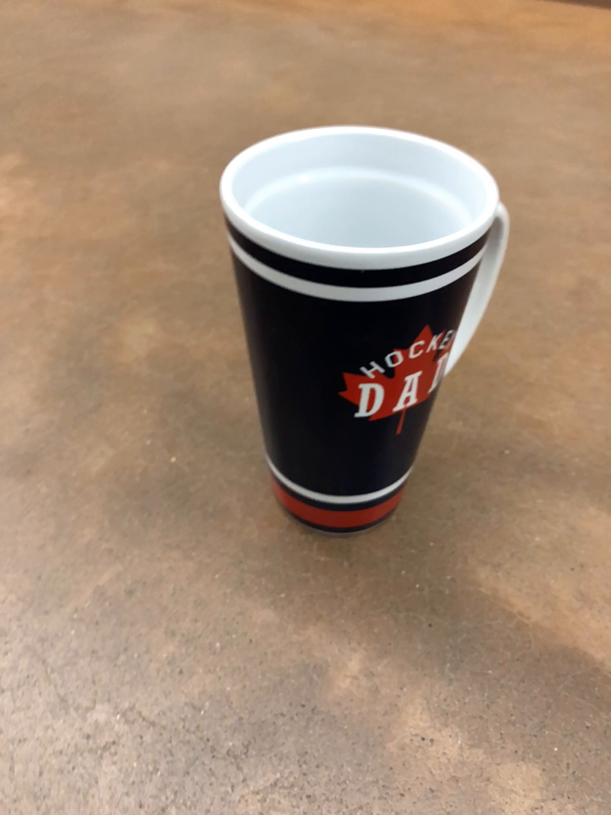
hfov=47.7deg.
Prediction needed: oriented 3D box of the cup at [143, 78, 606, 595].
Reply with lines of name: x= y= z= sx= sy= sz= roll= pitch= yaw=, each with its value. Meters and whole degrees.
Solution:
cup: x=0.027 y=-0.032 z=0.267 sx=0.090 sy=0.130 sz=0.130 roll=30 pitch=51 yaw=27
